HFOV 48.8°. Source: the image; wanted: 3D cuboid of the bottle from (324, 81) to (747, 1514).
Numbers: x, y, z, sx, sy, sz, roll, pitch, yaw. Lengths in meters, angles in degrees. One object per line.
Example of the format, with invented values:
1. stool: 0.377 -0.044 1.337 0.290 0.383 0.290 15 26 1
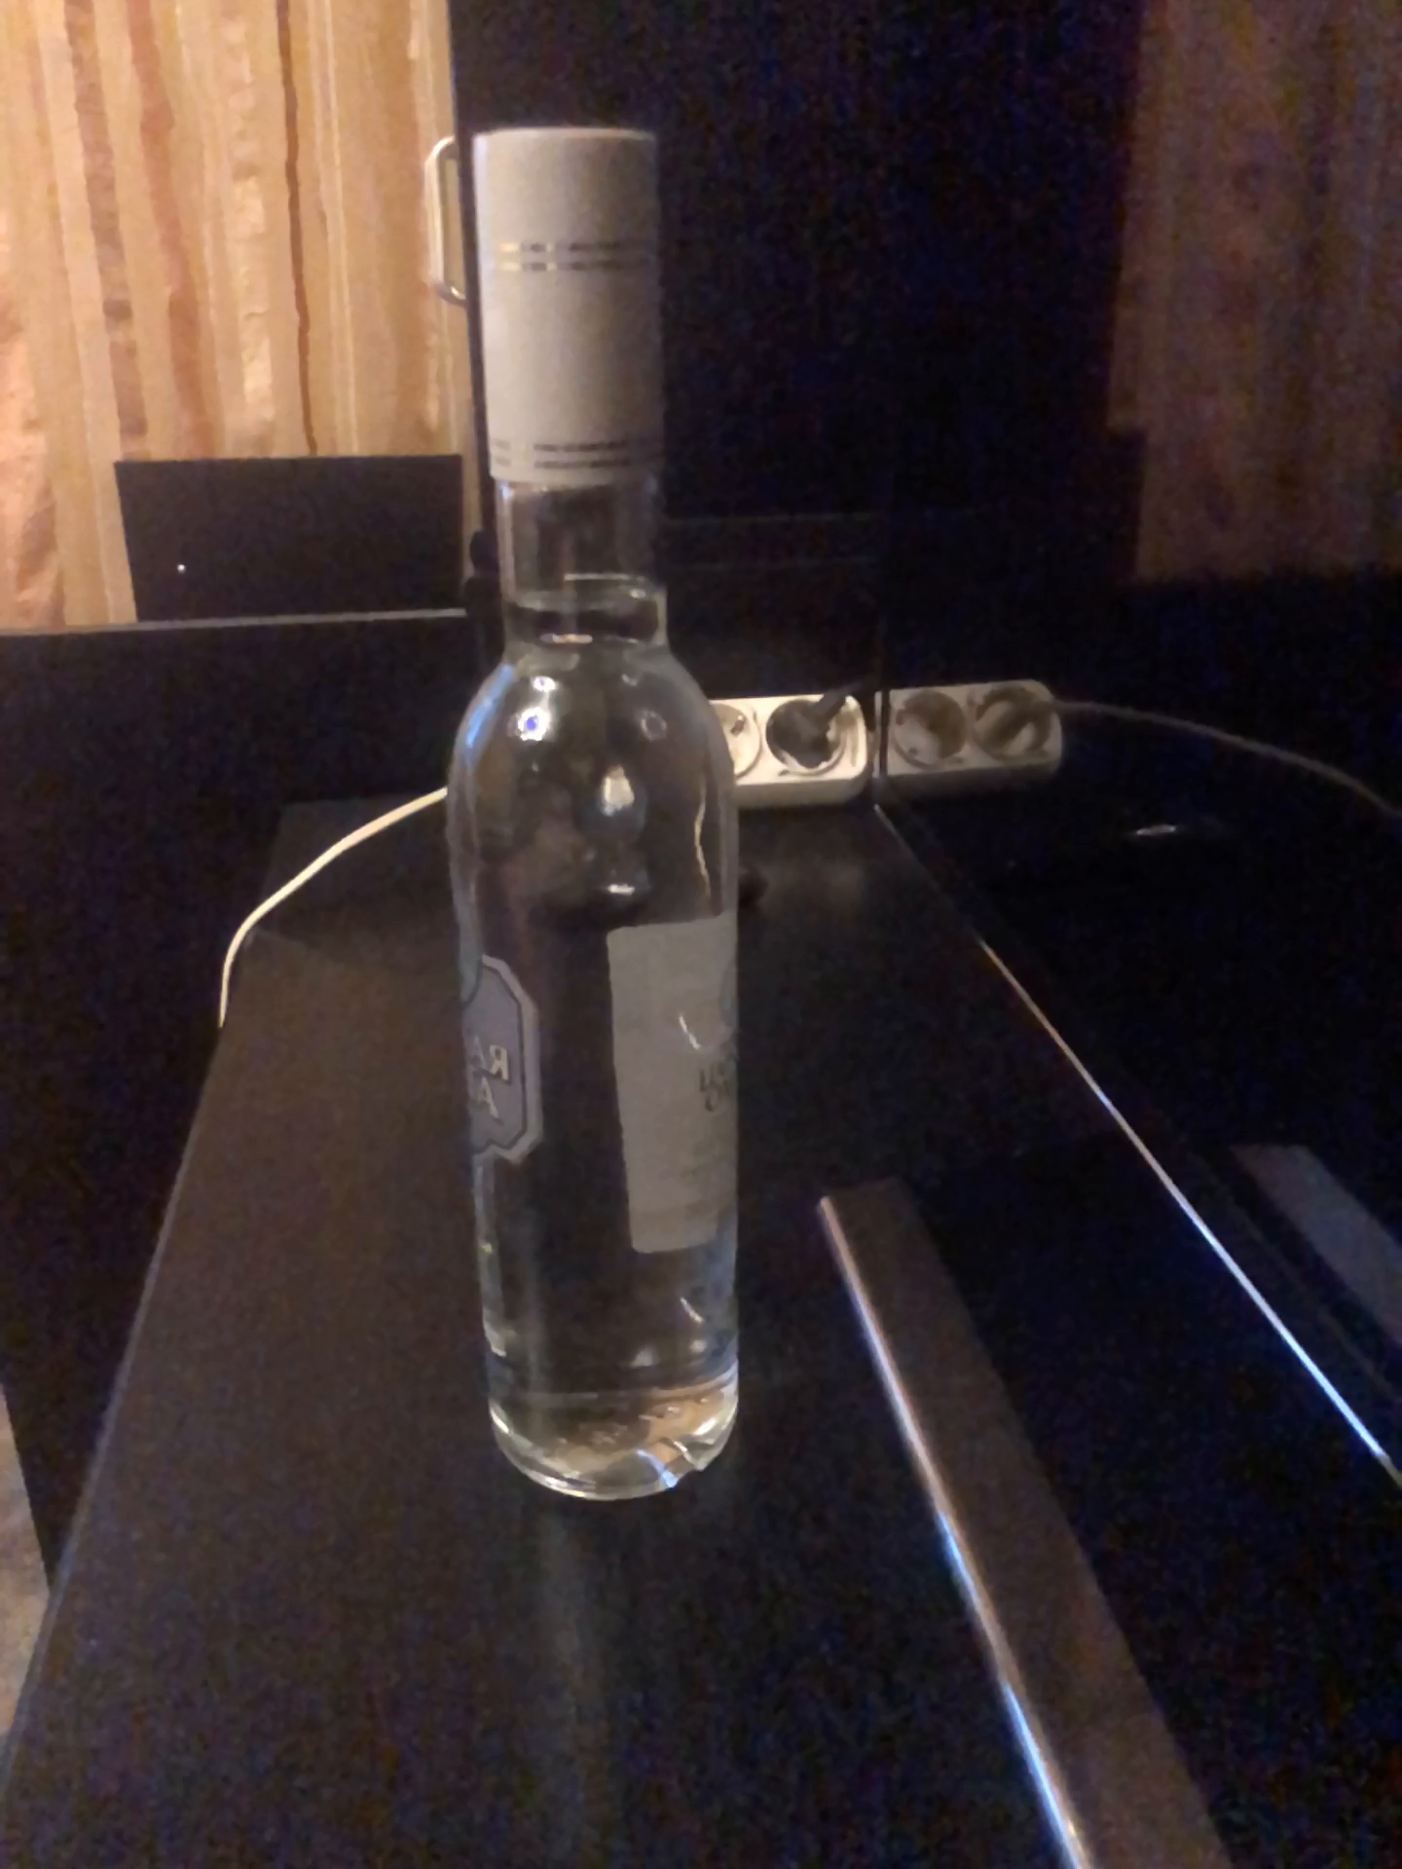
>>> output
1. bottle: -0.027 -0.015 0.332 0.067 0.290 0.065 -1 23 0
